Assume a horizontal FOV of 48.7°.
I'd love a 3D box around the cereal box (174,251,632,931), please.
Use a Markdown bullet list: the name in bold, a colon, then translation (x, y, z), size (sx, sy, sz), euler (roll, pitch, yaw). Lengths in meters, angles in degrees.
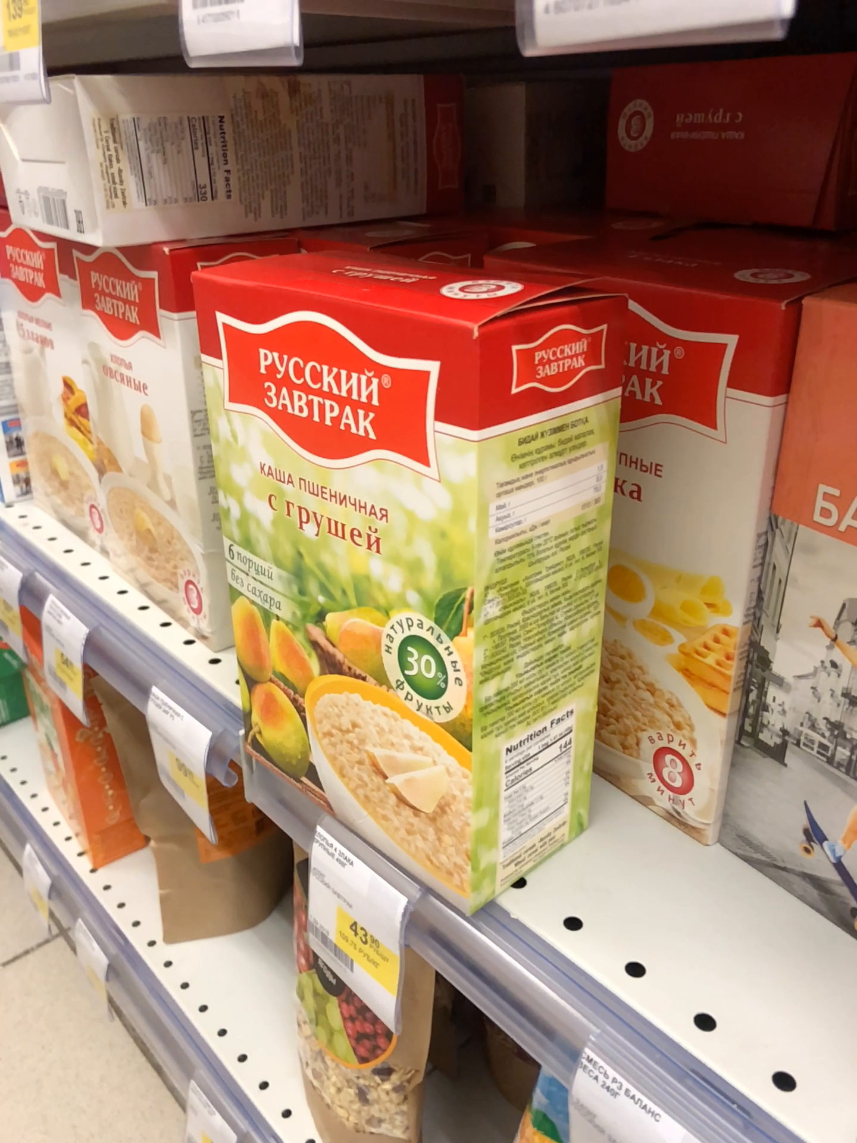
- **cereal box**: translation (-0.013, -0.002, 0.325), size (0.060, 0.189, 0.140), euler (-22, 33, -38)
